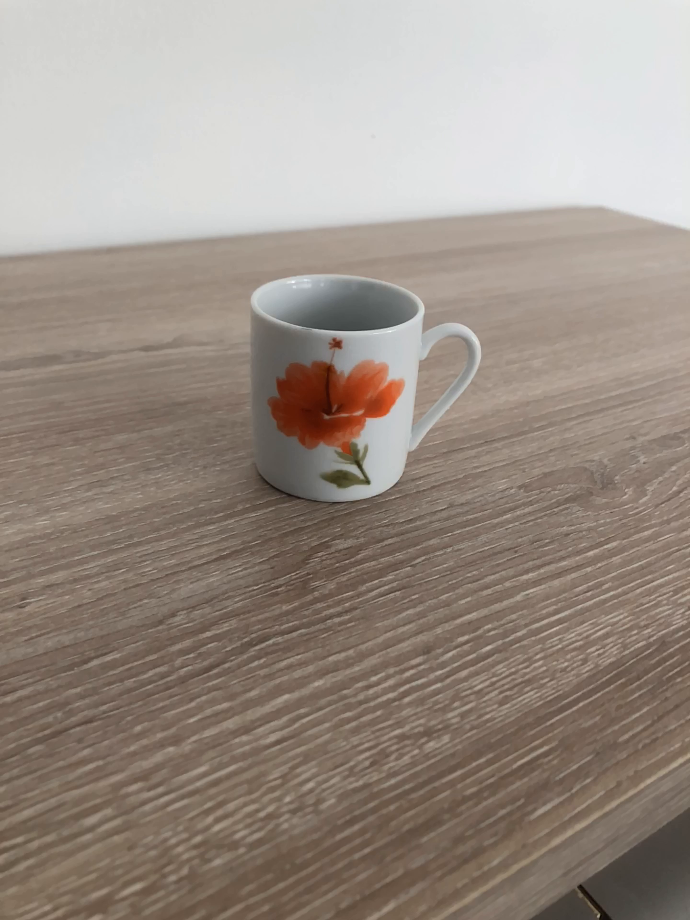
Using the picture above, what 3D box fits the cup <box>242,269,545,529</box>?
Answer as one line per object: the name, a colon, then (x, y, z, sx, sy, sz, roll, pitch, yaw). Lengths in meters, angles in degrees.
cup: (0.009, -0.021, 0.242, 0.080, 0.060, 0.060, 0, 29, -7)
